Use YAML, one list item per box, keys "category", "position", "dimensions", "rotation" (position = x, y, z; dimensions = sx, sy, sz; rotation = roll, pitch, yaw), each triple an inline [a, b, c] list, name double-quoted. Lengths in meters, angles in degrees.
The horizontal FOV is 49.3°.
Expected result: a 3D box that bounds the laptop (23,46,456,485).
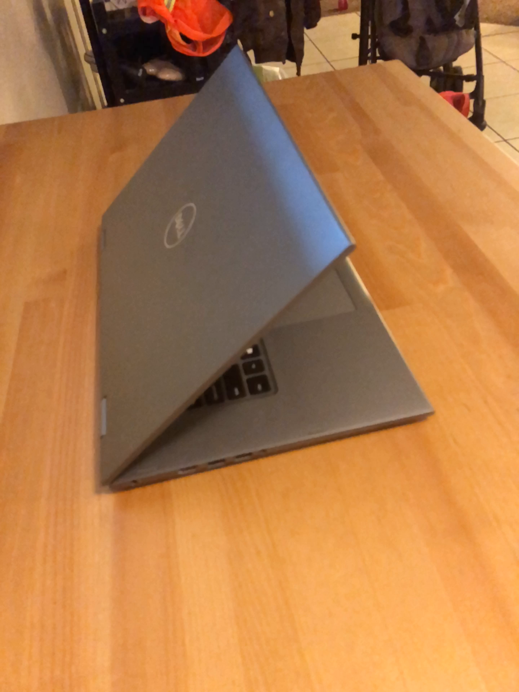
- category: "laptop"
  position: [-0.038, -0.106, 0.508]
  dimensions: [0.246, 0.165, 0.377]
  rotation: [-12, 44, -4]
